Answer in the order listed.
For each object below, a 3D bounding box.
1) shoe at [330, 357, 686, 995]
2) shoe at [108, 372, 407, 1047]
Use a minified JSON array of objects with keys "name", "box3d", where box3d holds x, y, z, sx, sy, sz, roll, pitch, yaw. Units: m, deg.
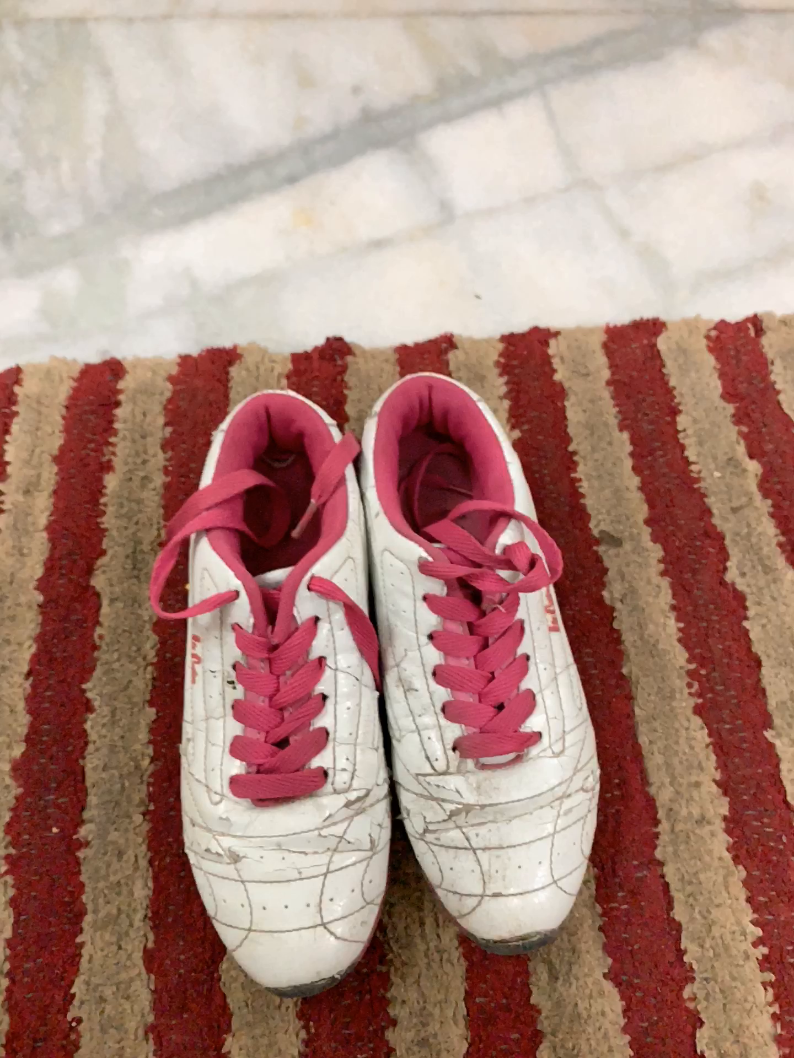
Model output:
[{"name":"shoe","box3d":[0.032,0.057,0.359,0.100,0.100,0.241,-5,64,-2]},{"name":"shoe","box3d":[-0.053,0.065,0.346,0.090,0.100,0.241,-5,64,-2]}]
